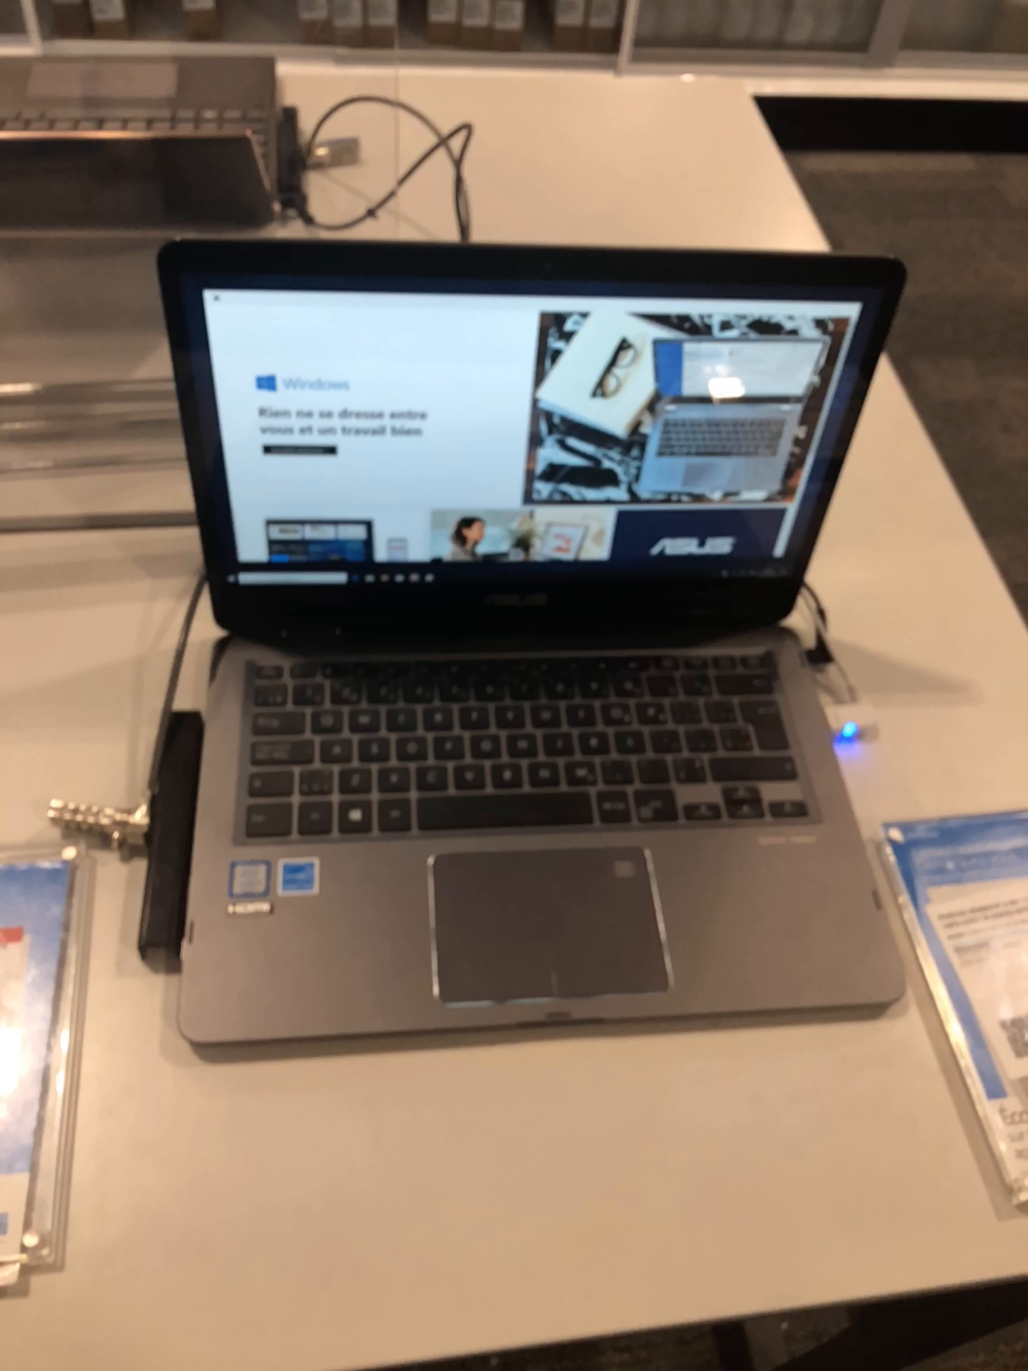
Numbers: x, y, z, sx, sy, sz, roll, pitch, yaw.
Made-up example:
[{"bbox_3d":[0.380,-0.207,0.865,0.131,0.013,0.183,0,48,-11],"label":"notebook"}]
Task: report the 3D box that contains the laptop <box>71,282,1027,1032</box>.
[{"bbox_3d":[0.014,-0.012,0.475,0.302,0.217,0.225,-2,51,-6],"label":"laptop"}]
